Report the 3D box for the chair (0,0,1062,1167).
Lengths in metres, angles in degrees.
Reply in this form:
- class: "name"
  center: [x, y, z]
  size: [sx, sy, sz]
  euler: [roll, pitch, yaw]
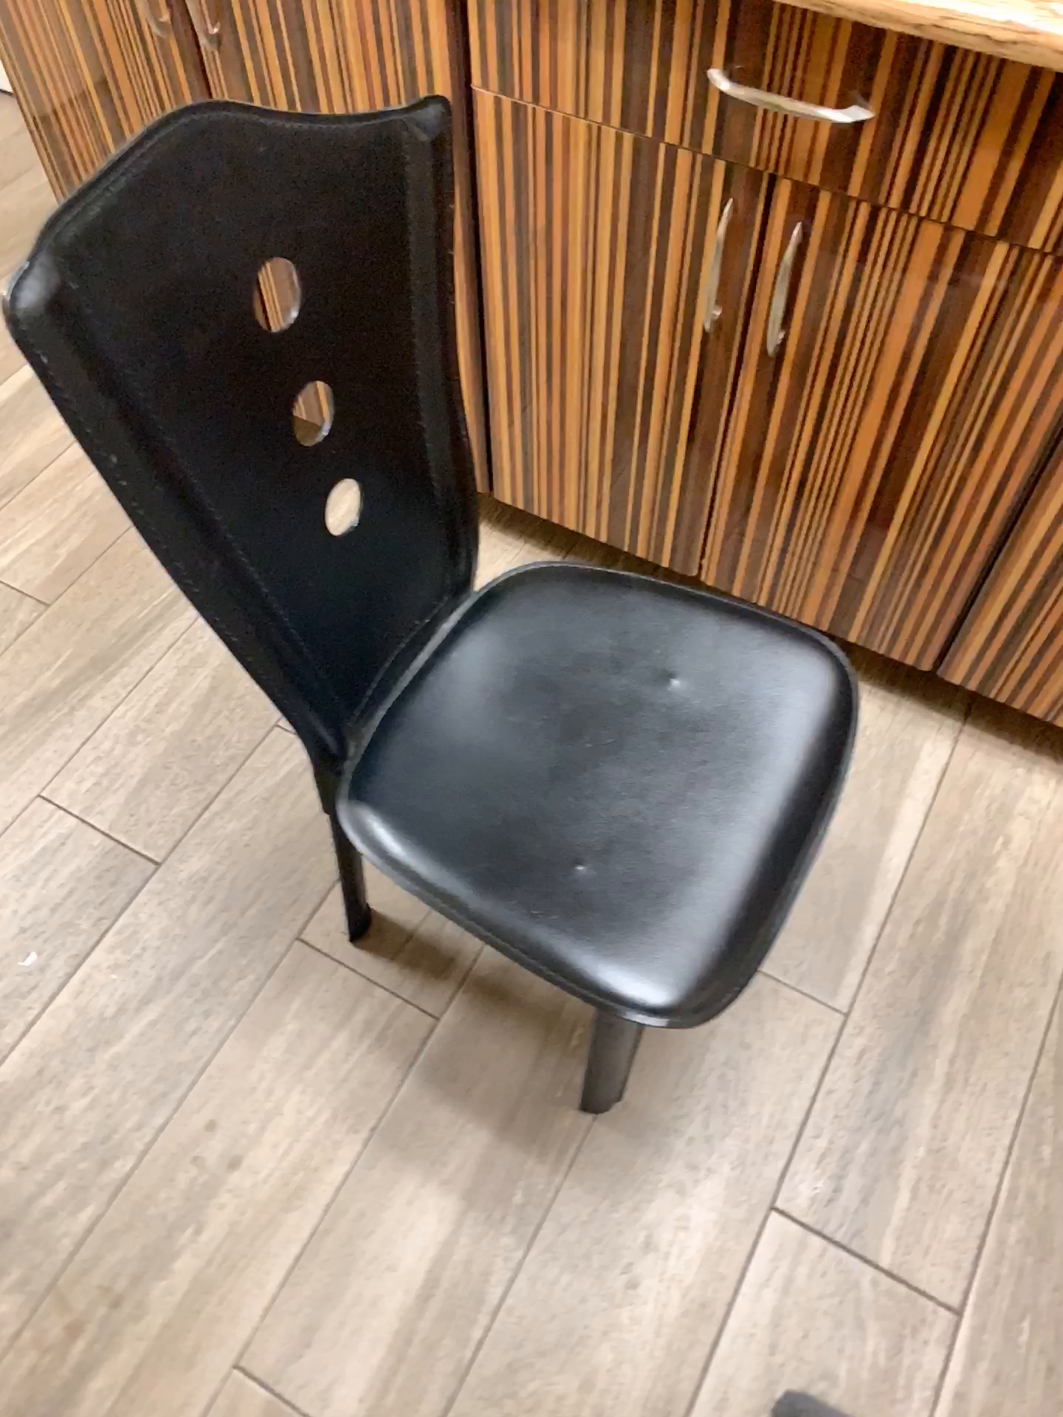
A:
- class: "chair"
  center: [0.030, -0.020, 0.955]
  size: [0.473, 0.943, 0.463]
  euler: [25, 61, 16]
